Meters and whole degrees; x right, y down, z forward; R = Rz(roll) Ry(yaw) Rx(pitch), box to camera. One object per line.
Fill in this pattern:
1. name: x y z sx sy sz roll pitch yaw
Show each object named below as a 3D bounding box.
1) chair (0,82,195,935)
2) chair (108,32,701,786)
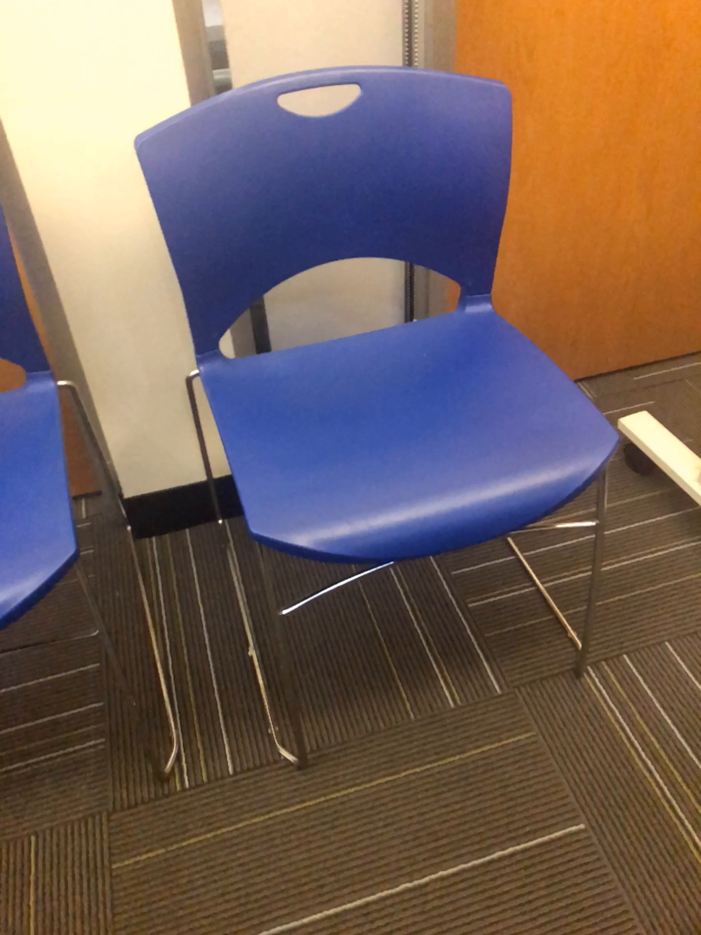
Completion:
1. chair: -0.595 0.051 1.038 0.521 0.853 0.634 -14 41 -13
2. chair: 0.043 -0.099 1.095 0.541 0.773 0.594 -13 40 -11
